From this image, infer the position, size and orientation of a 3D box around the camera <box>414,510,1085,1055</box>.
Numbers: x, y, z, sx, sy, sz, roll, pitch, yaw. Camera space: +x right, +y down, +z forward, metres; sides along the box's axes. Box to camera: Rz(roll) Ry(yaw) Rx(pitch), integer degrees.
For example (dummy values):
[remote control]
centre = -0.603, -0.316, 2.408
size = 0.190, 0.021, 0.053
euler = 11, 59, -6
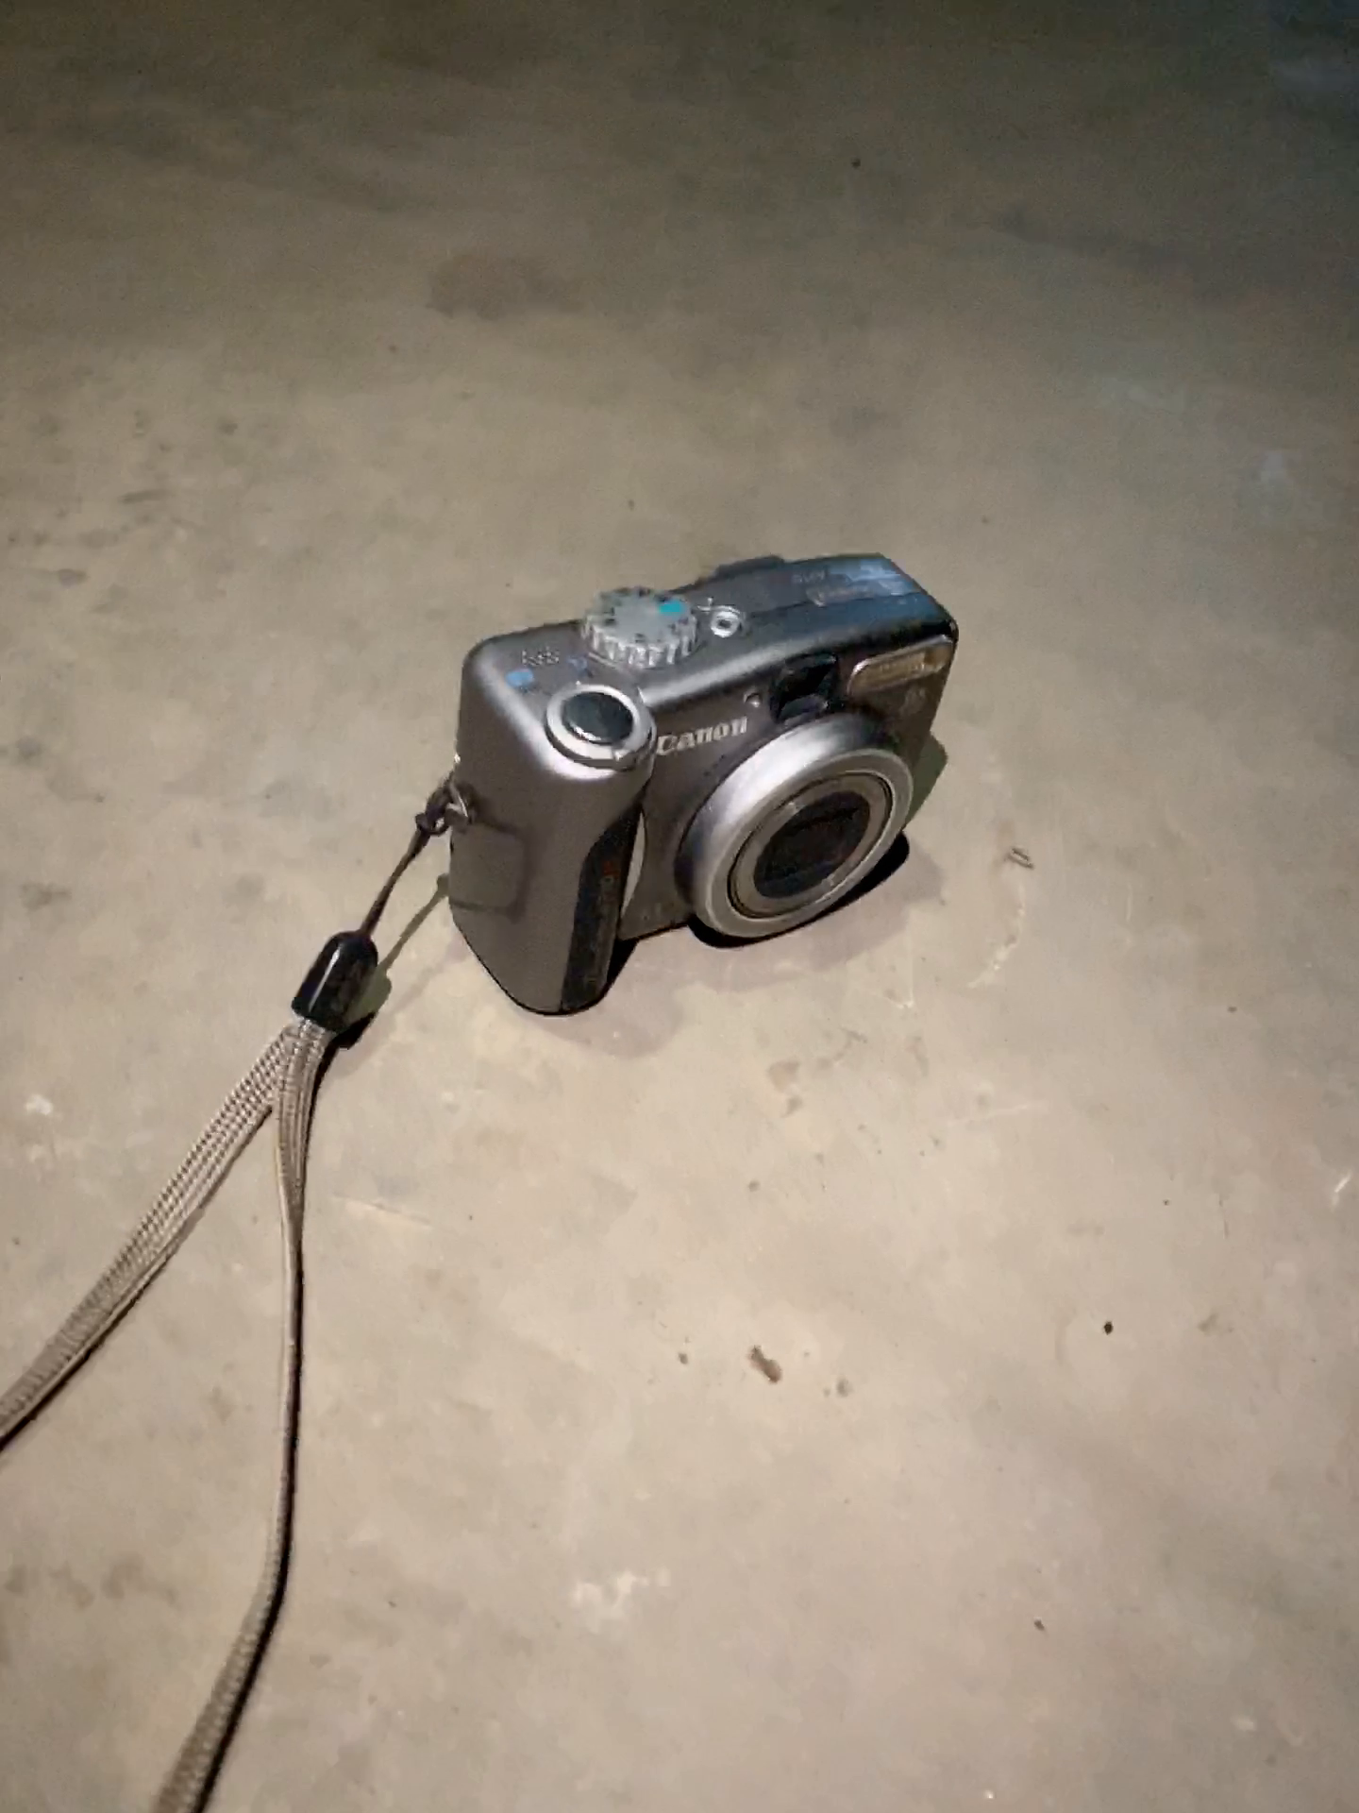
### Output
[camera]
centre = 0.011, -0.027, 0.263
size = 0.109, 0.059, 0.048
euler = -20, 52, -29
